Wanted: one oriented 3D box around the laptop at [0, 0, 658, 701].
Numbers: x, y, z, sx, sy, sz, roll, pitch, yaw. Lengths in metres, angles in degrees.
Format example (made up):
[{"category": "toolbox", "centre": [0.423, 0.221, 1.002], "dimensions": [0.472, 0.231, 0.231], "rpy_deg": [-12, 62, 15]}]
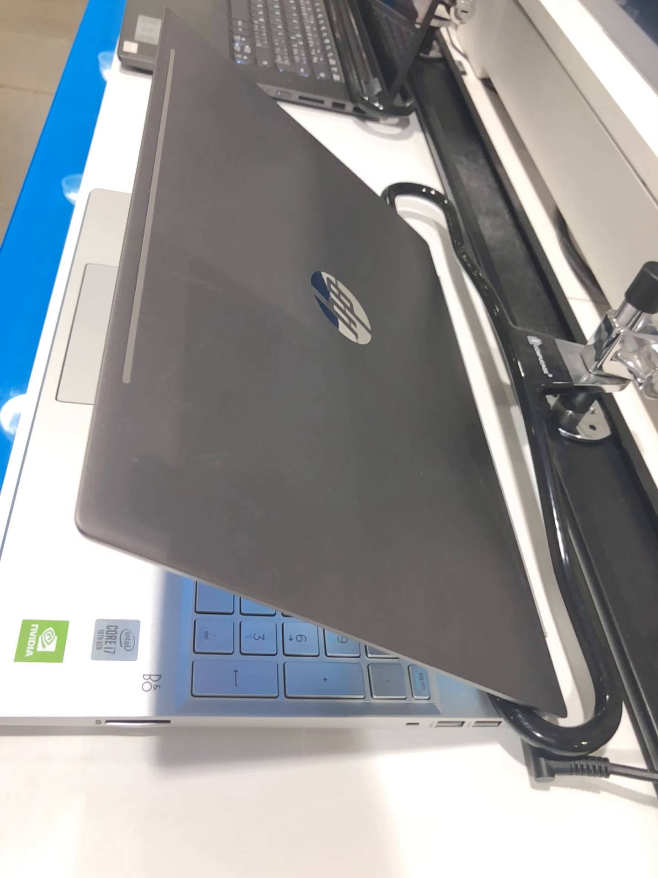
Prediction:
[{"category": "laptop", "centre": [-0.027, -0.067, 0.361], "dimensions": [0.215, 0.124, 0.349], "rpy_deg": [5, 48, -13]}]
